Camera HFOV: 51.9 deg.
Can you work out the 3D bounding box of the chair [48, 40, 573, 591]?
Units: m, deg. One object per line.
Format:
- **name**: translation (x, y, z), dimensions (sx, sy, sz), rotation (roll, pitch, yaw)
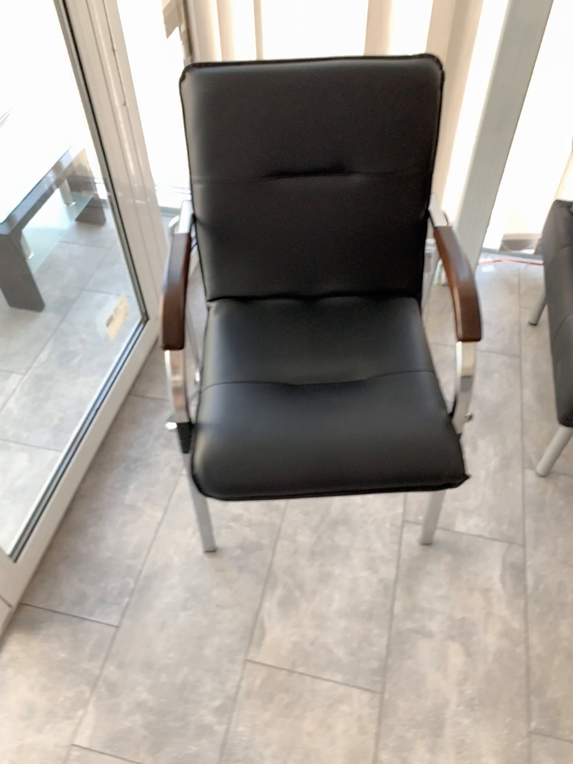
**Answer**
- **chair**: translation (0.069, -0.096, 1.196), dimensions (0.680, 0.827, 0.703), rotation (-3, 50, -1)
